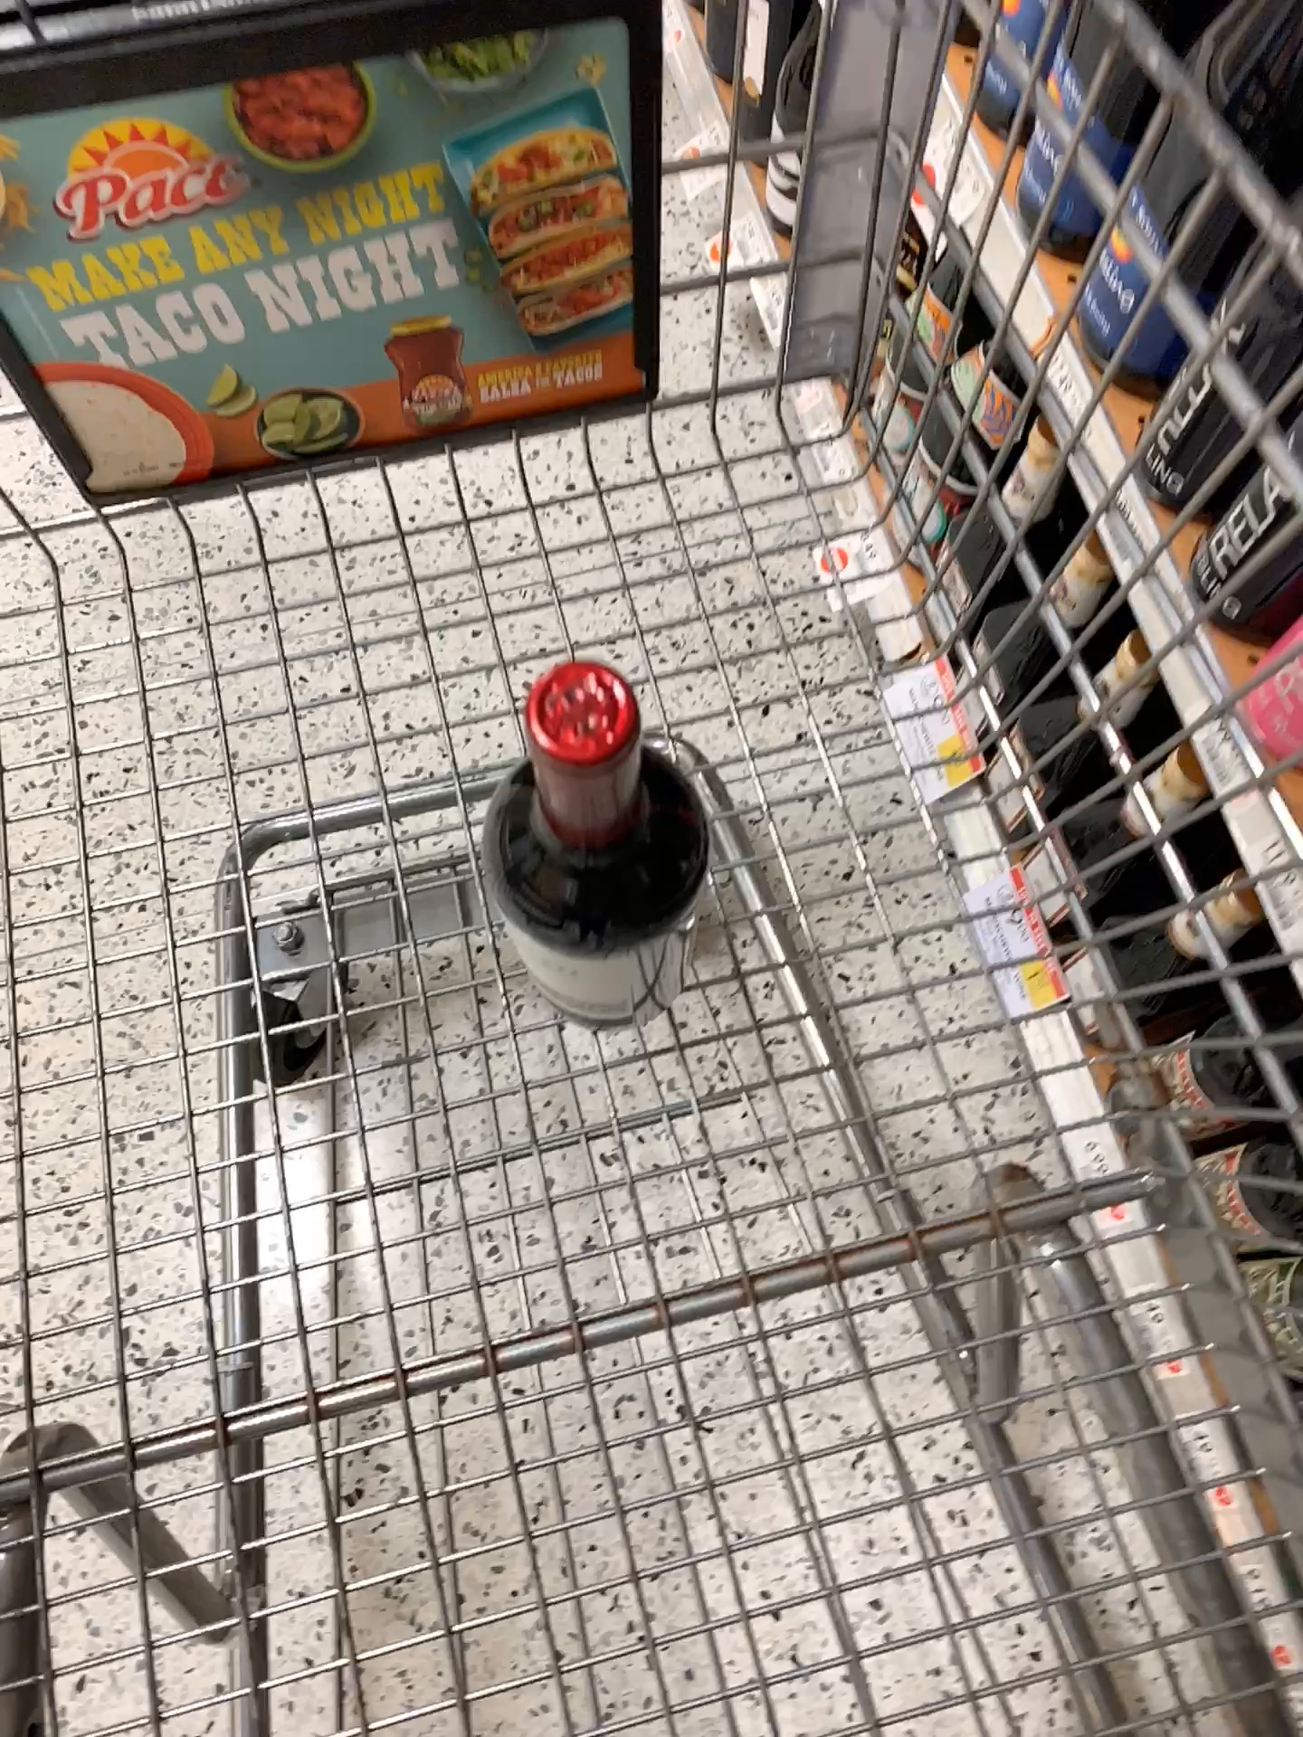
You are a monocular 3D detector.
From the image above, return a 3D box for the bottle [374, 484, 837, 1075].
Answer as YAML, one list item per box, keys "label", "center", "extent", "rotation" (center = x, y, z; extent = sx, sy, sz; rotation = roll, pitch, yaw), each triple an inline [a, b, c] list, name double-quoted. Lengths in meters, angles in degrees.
- label: "bottle"
  center: [-0.016, -0.002, 0.458]
  extent: [0.080, 0.299, 0.090]
  rotation: [-22, 77, -7]
